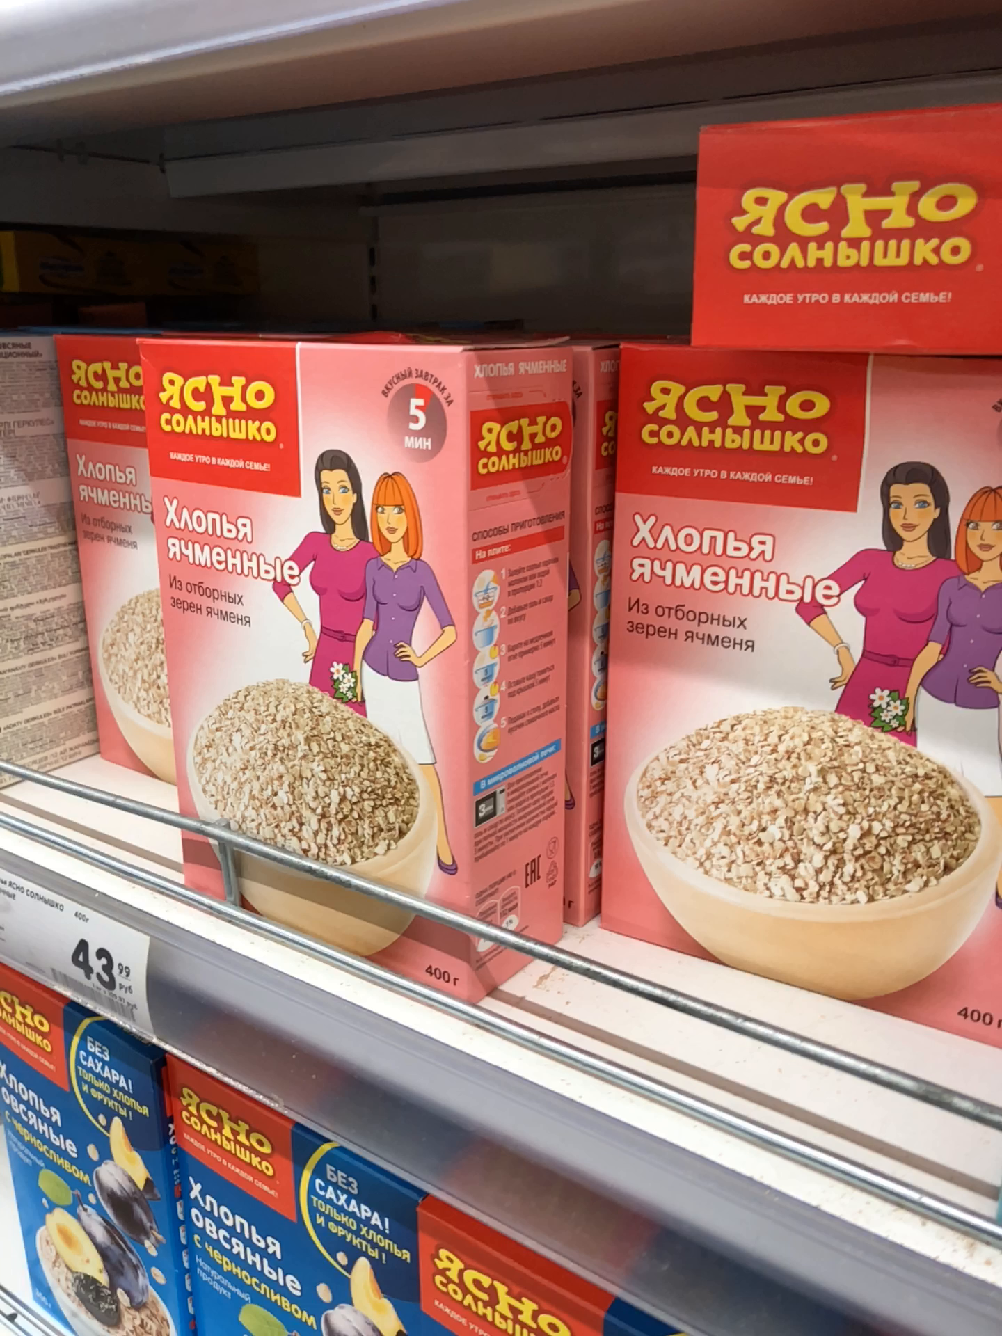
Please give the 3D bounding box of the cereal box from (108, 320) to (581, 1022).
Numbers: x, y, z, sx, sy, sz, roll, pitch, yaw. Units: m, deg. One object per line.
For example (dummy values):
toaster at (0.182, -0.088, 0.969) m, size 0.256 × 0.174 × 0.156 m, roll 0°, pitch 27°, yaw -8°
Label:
cereal box at (-0.049, -0.009, 0.346) m, size 0.140 × 0.189 × 0.050 m, roll 12°, pitch 21°, yaw 35°
